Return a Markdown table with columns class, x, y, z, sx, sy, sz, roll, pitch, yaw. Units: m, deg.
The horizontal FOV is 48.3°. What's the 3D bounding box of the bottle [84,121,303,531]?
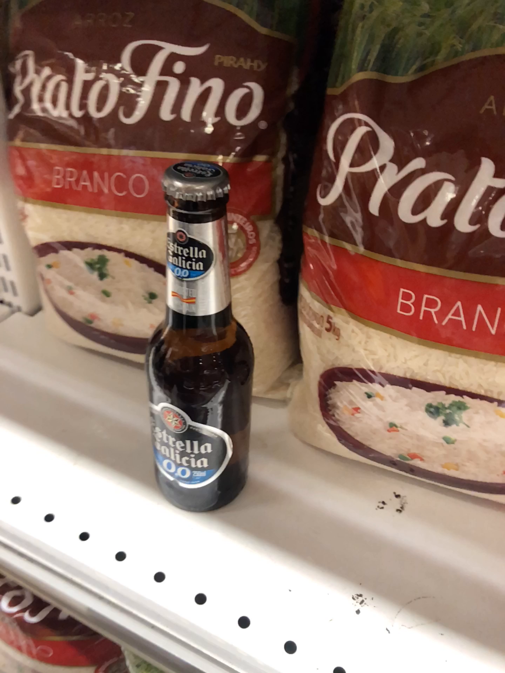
| class | x | y | z | sx | sy | sz | roll | pitch | yaw |
| --- | --- | --- | --- | --- | --- | --- | --- | --- | --- |
| bottle | -0.025 | 0.005 | 0.276 | 0.060 | 0.189 | 0.060 | 2 | 39 | -2 |
